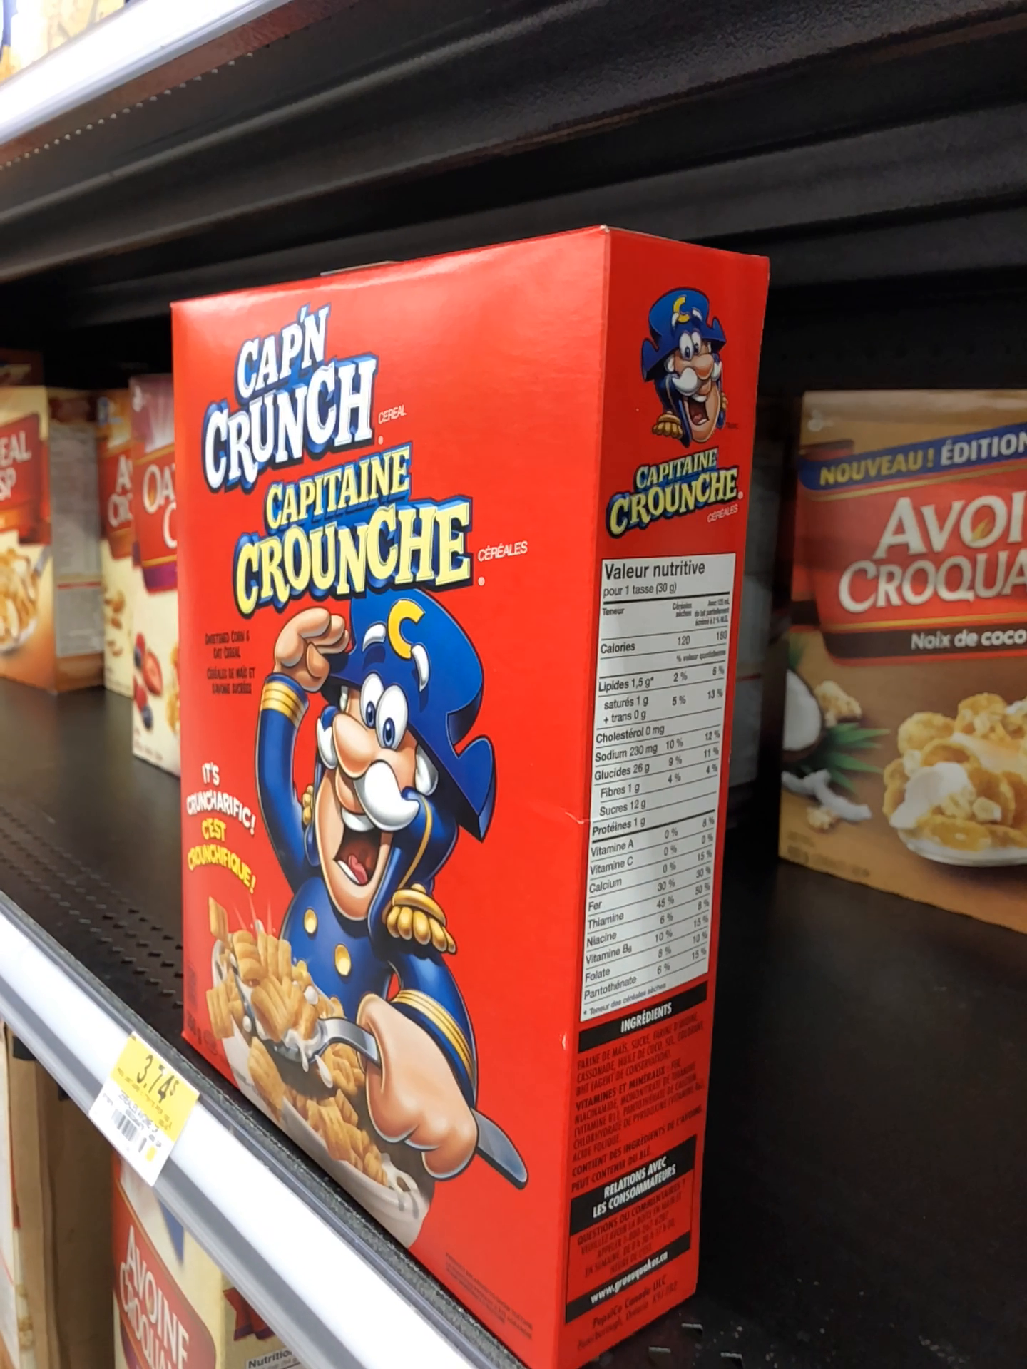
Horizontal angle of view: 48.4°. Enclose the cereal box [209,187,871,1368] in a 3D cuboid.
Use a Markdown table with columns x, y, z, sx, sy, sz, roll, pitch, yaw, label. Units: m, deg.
| x | y | z | sx | sy | sz | roll | pitch | yaw | label |
| --- | --- | --- | --- | --- | --- | --- | --- | --- | --- |
| -0.015 | 0.016 | 0.353 | 0.060 | 0.279 | 0.221 | -7 | 14 | -39 | cereal box |
